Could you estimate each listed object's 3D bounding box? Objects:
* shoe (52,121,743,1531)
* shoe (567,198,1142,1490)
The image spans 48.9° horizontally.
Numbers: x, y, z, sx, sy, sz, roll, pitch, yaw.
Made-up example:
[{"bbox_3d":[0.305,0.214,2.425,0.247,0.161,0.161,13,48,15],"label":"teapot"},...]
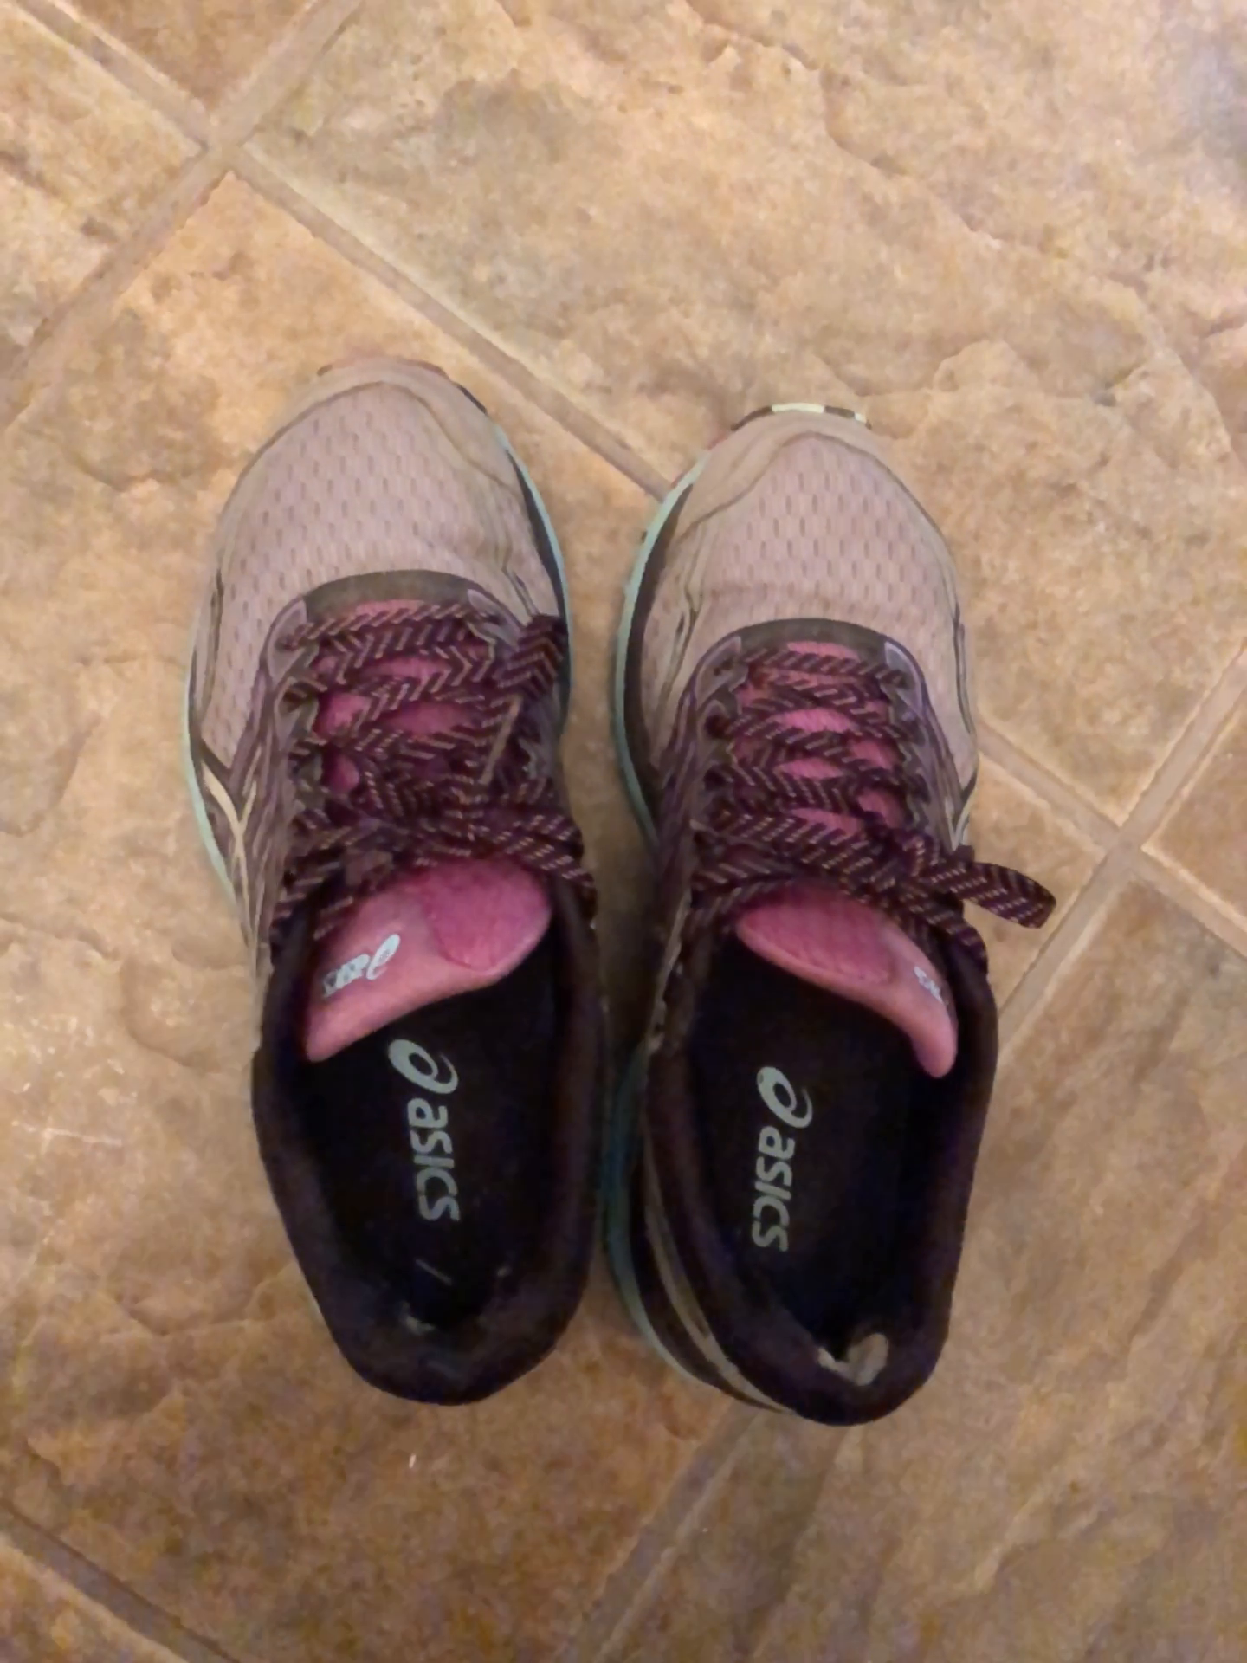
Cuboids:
[{"bbox_3d":[-0.054,-0.005,0.342,0.110,0.120,0.280,-7,87,-7],"label":"shoe"},{"bbox_3d":[0.052,0.005,0.362,0.110,0.120,0.280,3,86,-7],"label":"shoe"}]
